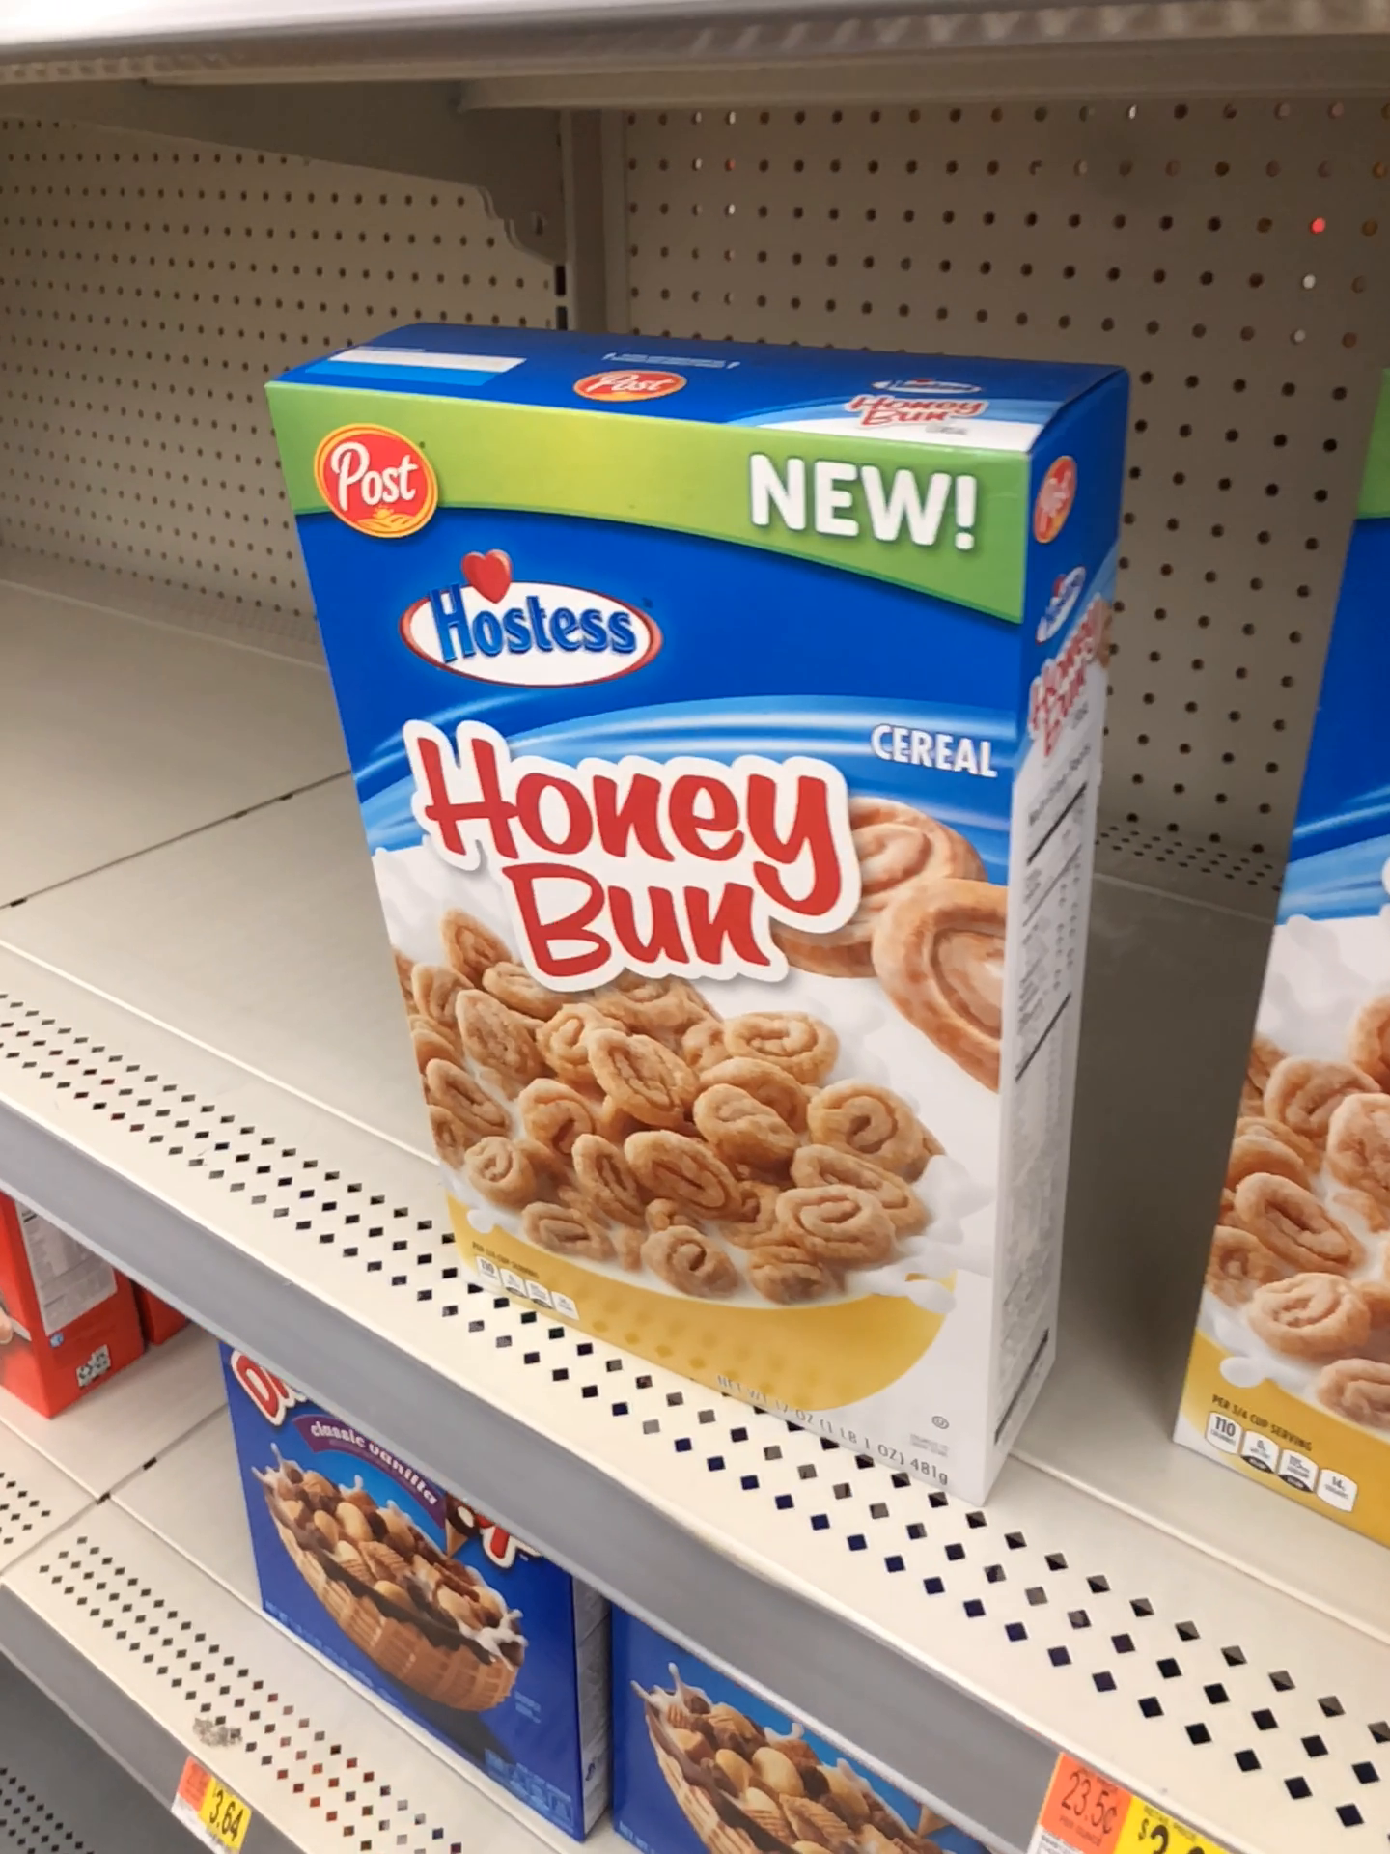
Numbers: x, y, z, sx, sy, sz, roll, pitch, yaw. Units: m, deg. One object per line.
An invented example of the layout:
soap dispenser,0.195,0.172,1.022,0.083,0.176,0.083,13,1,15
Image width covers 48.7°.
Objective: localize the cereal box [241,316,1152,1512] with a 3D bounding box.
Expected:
cereal box,0.005,-0.001,0.428,0.200,0.299,0.070,15,38,29
